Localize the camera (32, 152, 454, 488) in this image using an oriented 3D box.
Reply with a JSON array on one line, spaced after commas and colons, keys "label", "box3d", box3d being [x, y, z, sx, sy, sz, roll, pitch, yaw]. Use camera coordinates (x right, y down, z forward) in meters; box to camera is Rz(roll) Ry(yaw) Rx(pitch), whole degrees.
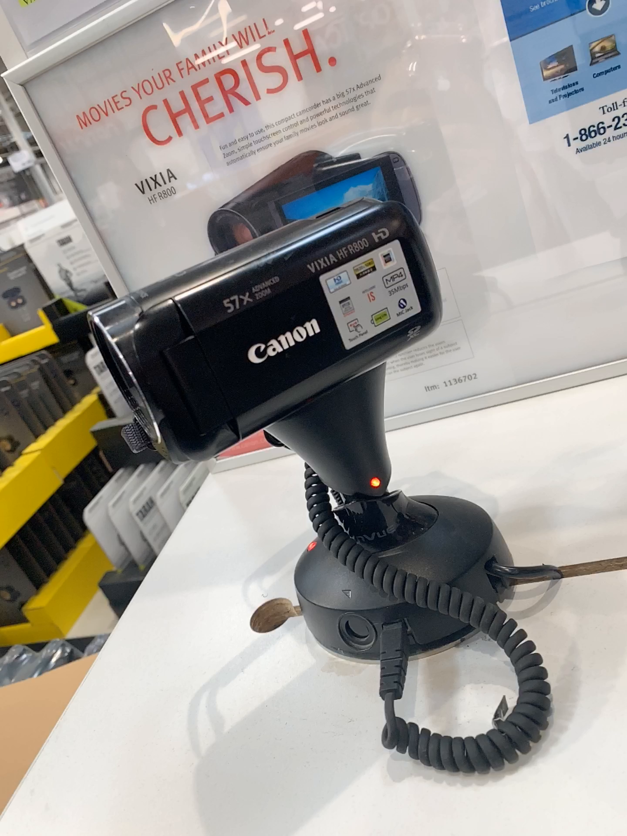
[{"label": "camera", "box3d": [-0.022, -0.036, 0.214, 0.113, 0.054, 0.058, -30, 23, -20]}]
